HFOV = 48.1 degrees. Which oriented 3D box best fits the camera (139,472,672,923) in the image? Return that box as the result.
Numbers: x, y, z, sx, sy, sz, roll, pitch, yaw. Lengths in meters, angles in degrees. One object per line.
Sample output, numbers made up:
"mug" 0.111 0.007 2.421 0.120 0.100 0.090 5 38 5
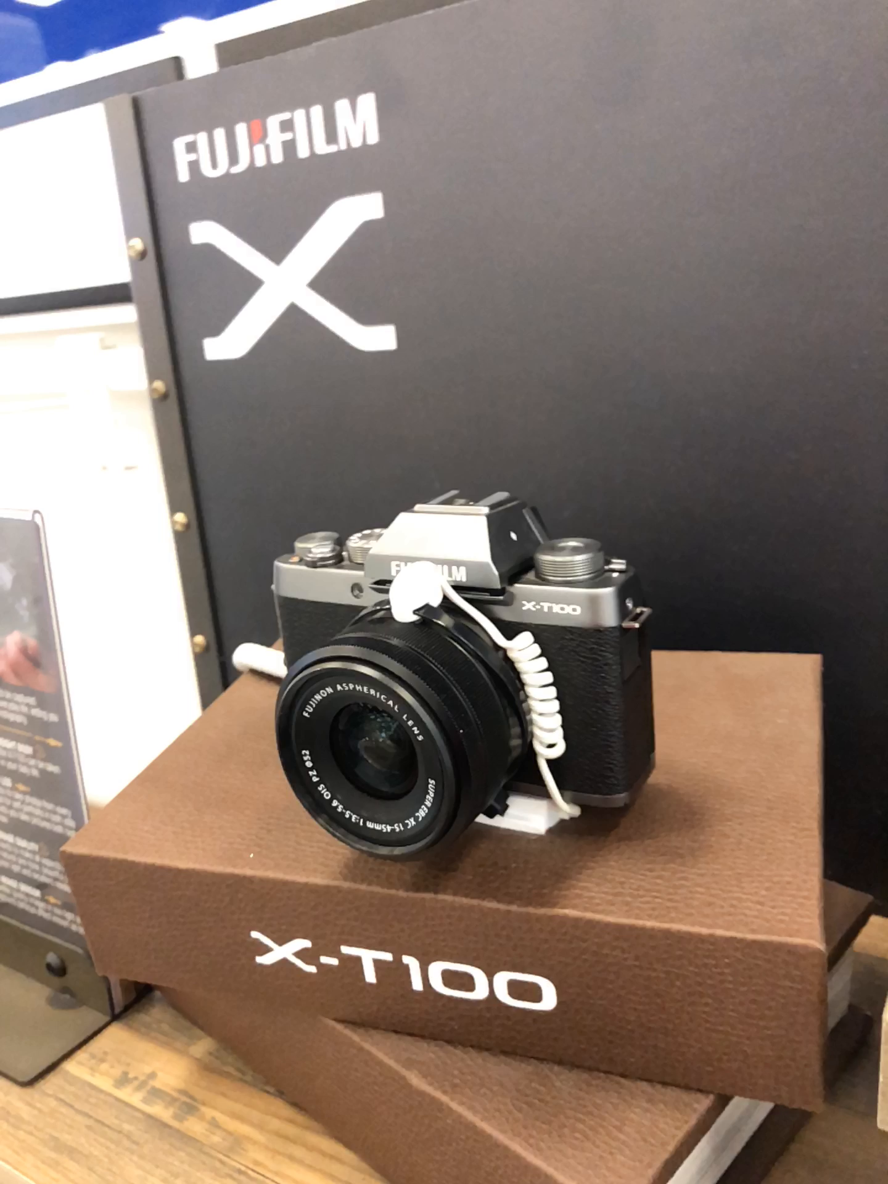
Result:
"camera" -0.007 0.019 0.298 0.120 0.090 0.090 5 21 32
